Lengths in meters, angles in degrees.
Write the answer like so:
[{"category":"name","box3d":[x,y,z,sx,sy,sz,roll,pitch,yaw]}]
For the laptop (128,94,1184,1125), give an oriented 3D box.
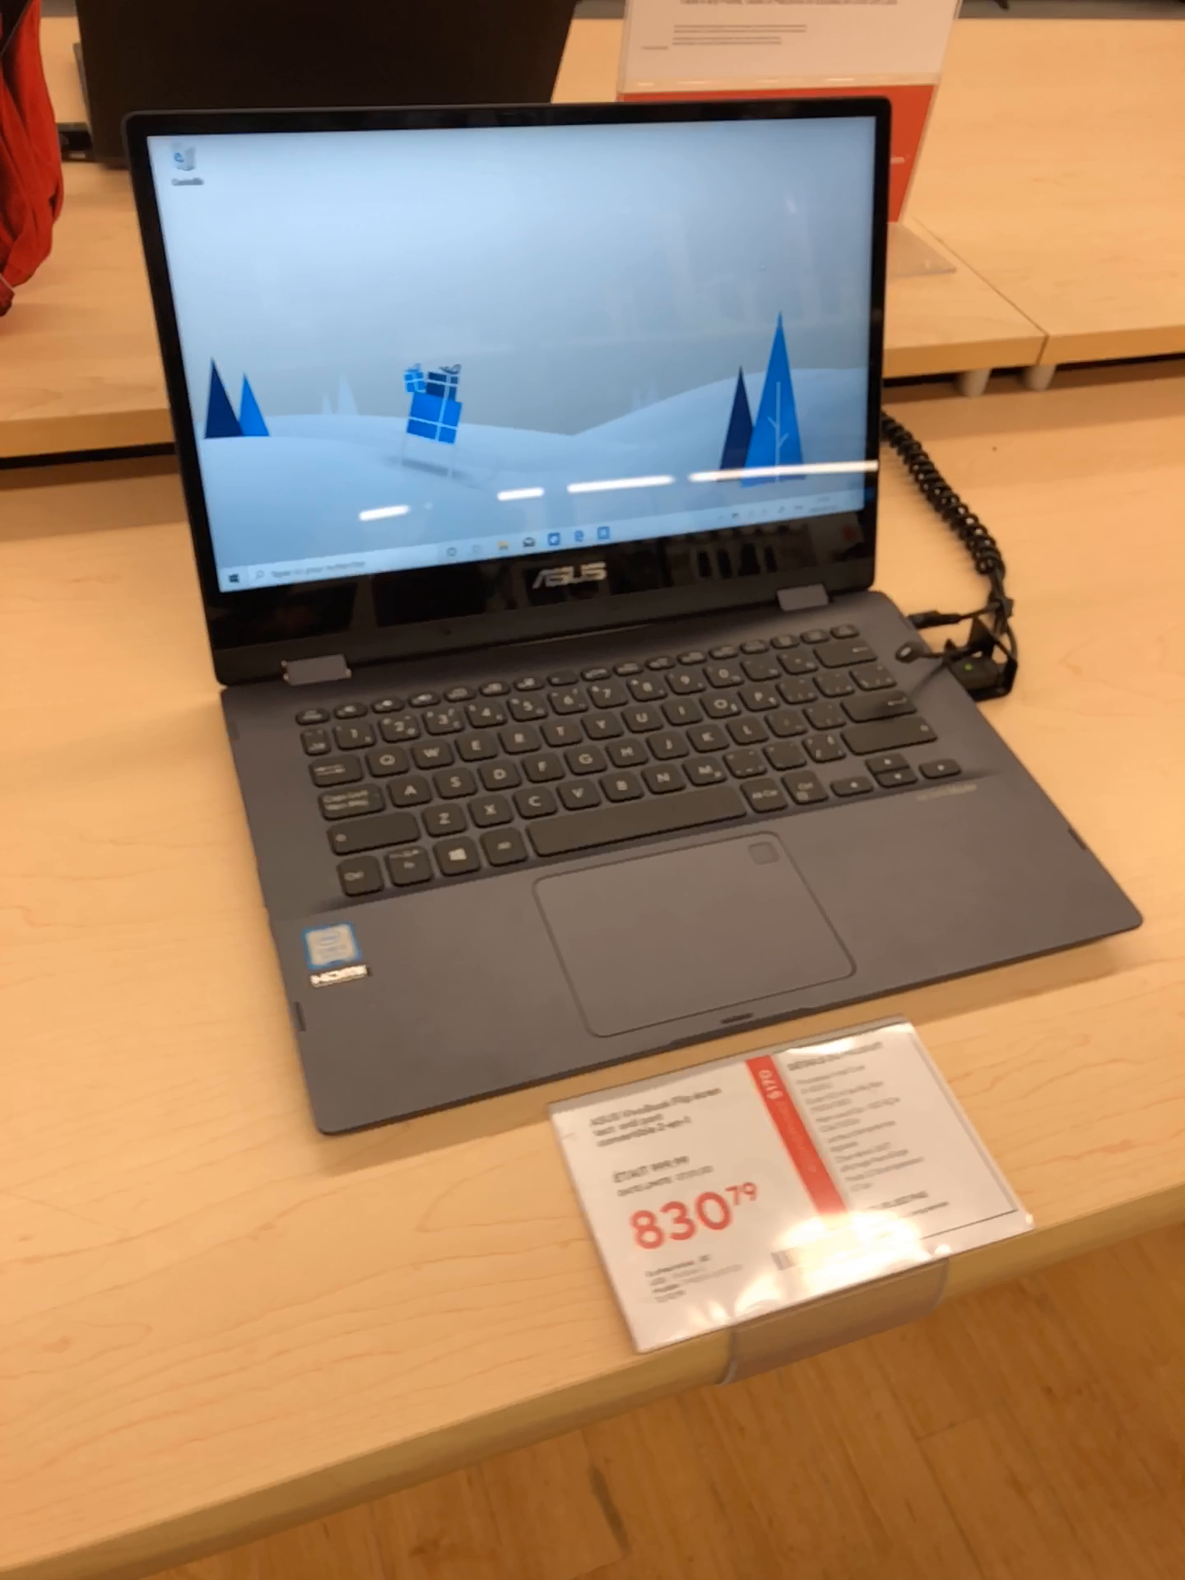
[{"category":"laptop","box3d":[0.020,-0.098,0.491,0.313,0.188,0.314,-10,49,-17]}]
